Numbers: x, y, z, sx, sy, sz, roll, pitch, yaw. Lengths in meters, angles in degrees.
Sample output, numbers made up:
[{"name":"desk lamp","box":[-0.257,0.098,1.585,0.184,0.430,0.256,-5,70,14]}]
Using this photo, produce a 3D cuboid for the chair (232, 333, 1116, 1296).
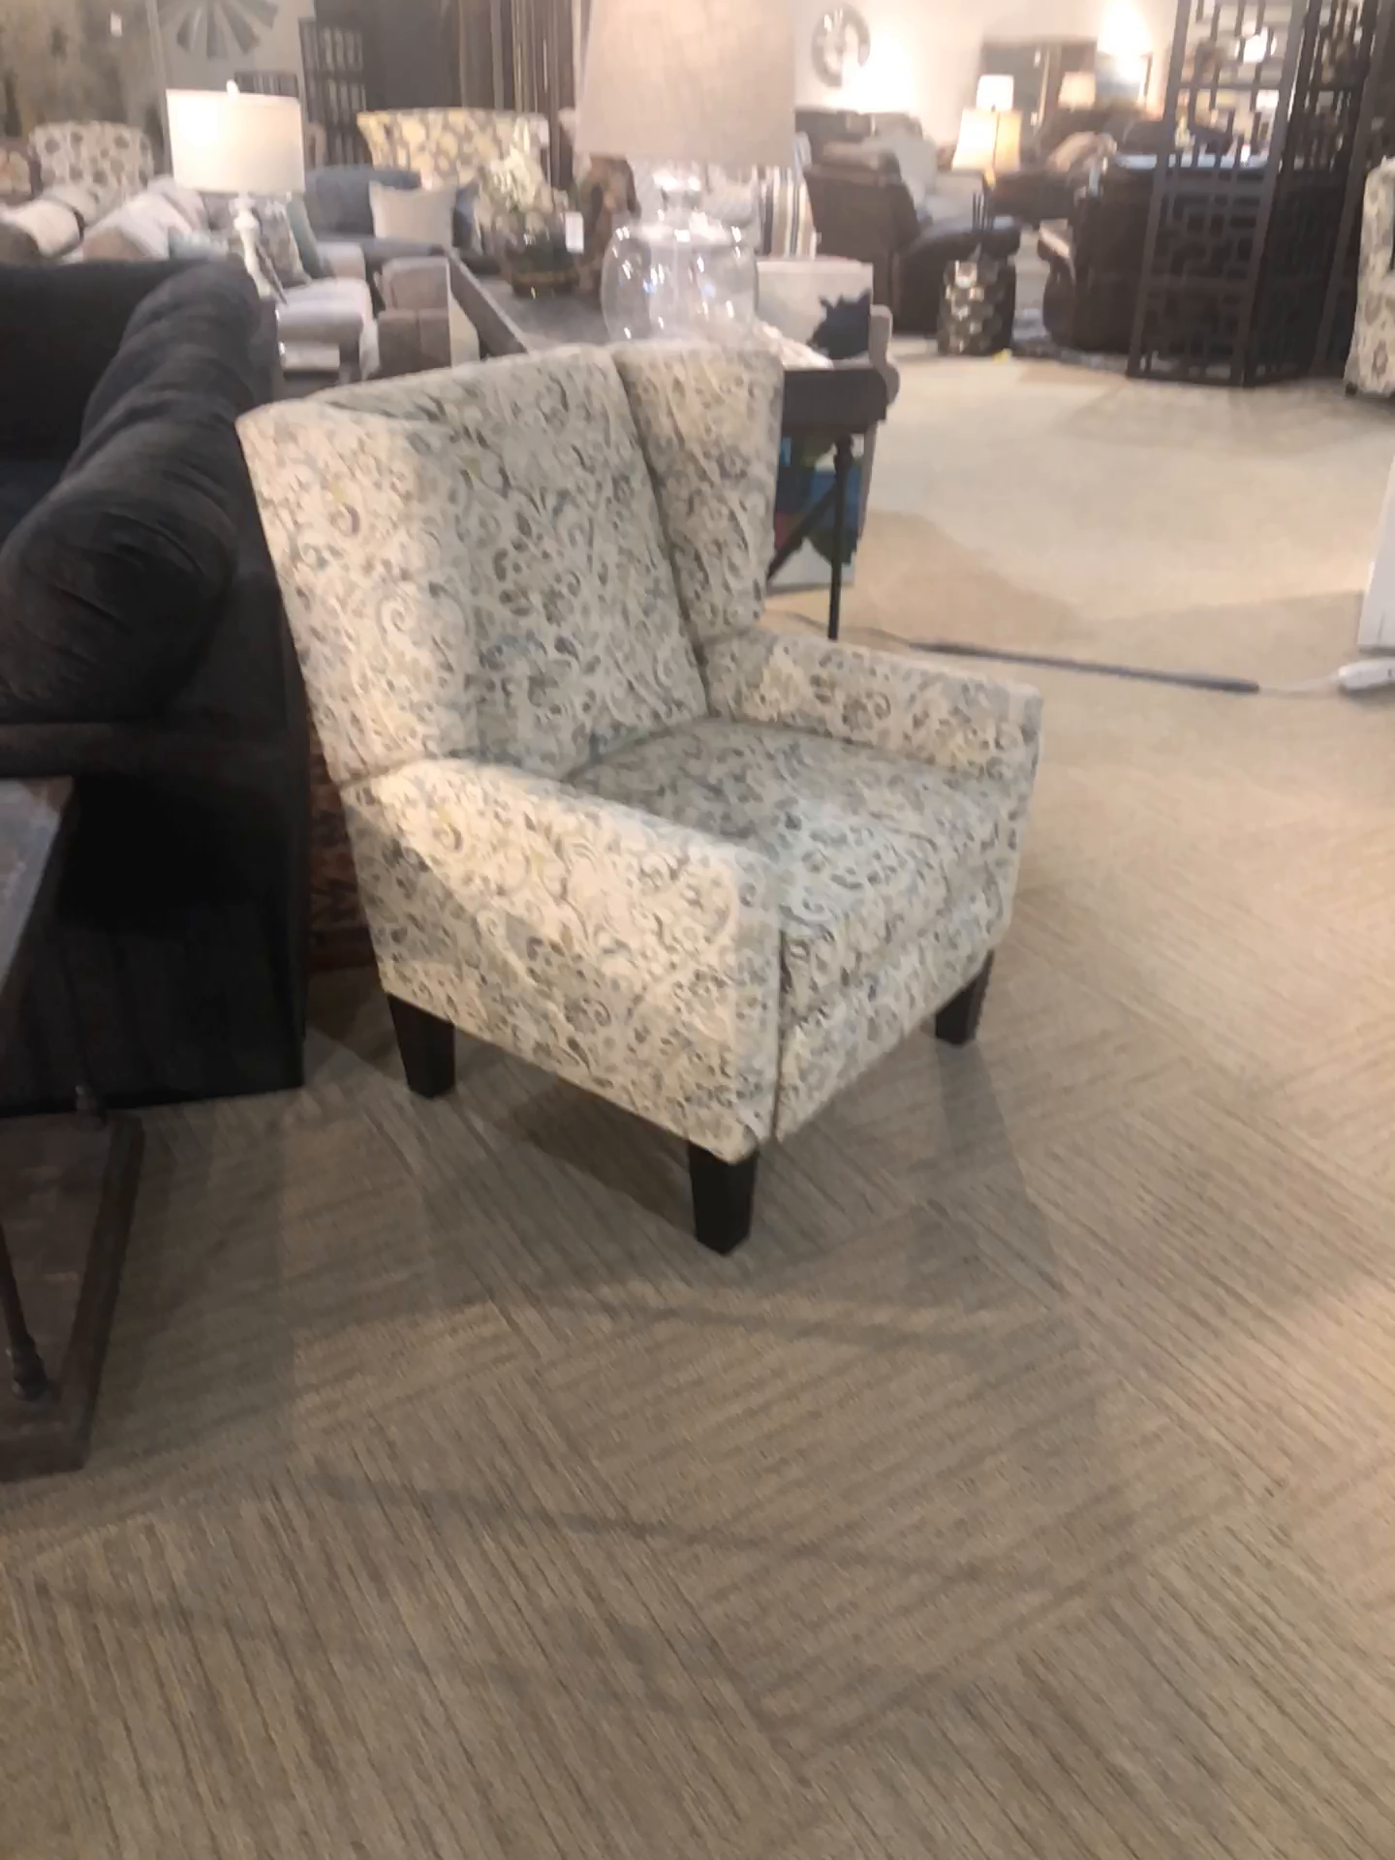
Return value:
[{"name":"chair","box":[-0.022,-0.244,2.153,0.801,0.975,0.783,22,35,33]}]
